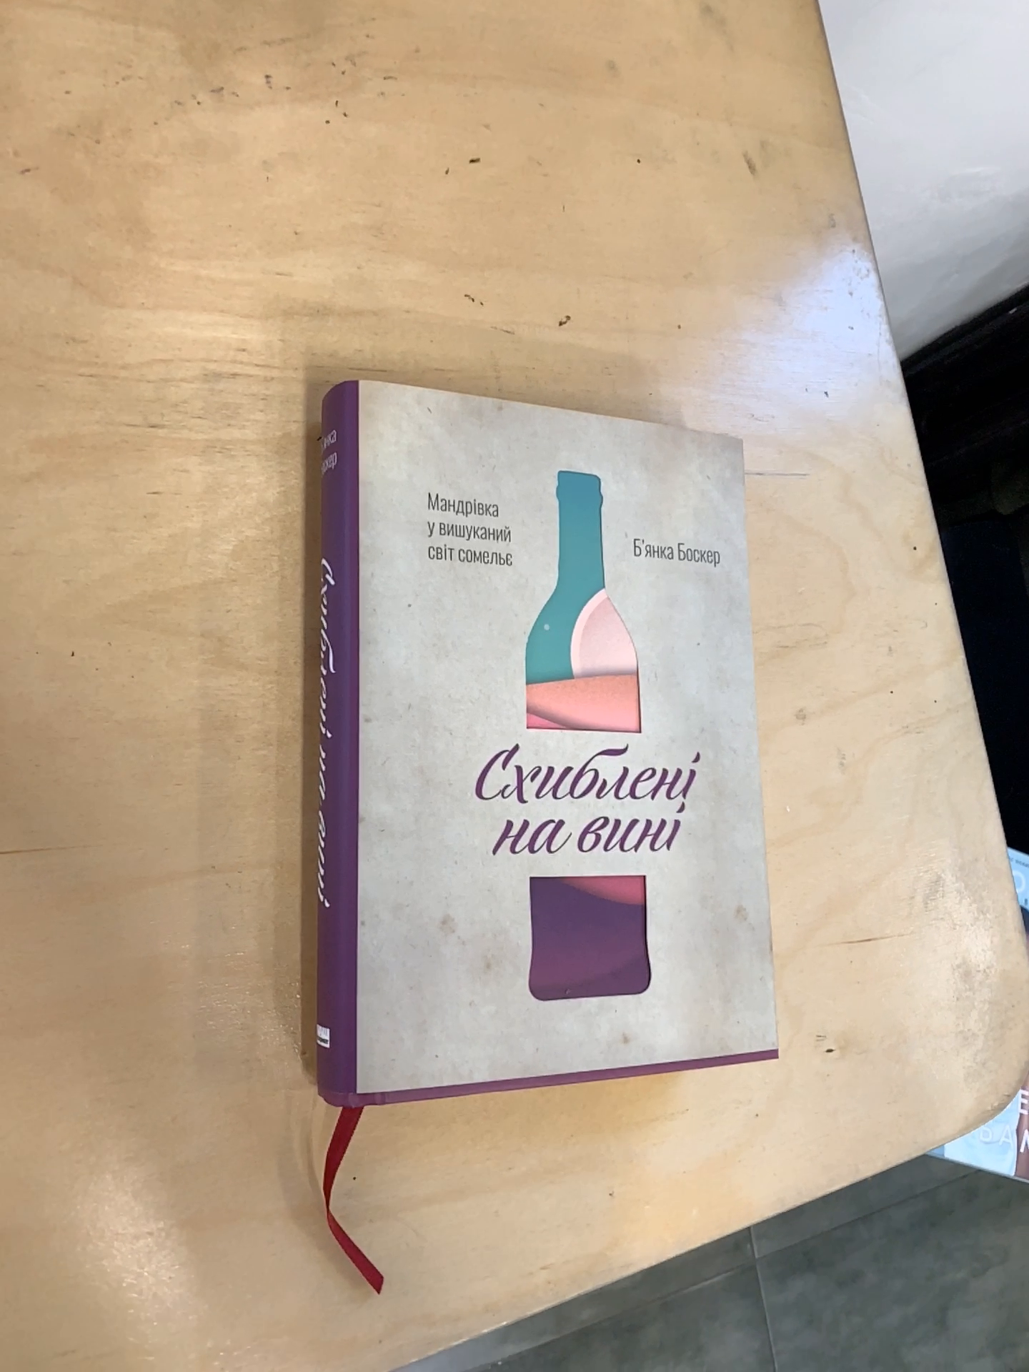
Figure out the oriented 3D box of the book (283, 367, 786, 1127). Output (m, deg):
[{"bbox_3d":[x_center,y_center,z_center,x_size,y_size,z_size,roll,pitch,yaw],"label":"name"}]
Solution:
[{"bbox_3d":[0.005,0.018,0.349,0.150,0.050,0.214,3,79,-24],"label":"book"}]
